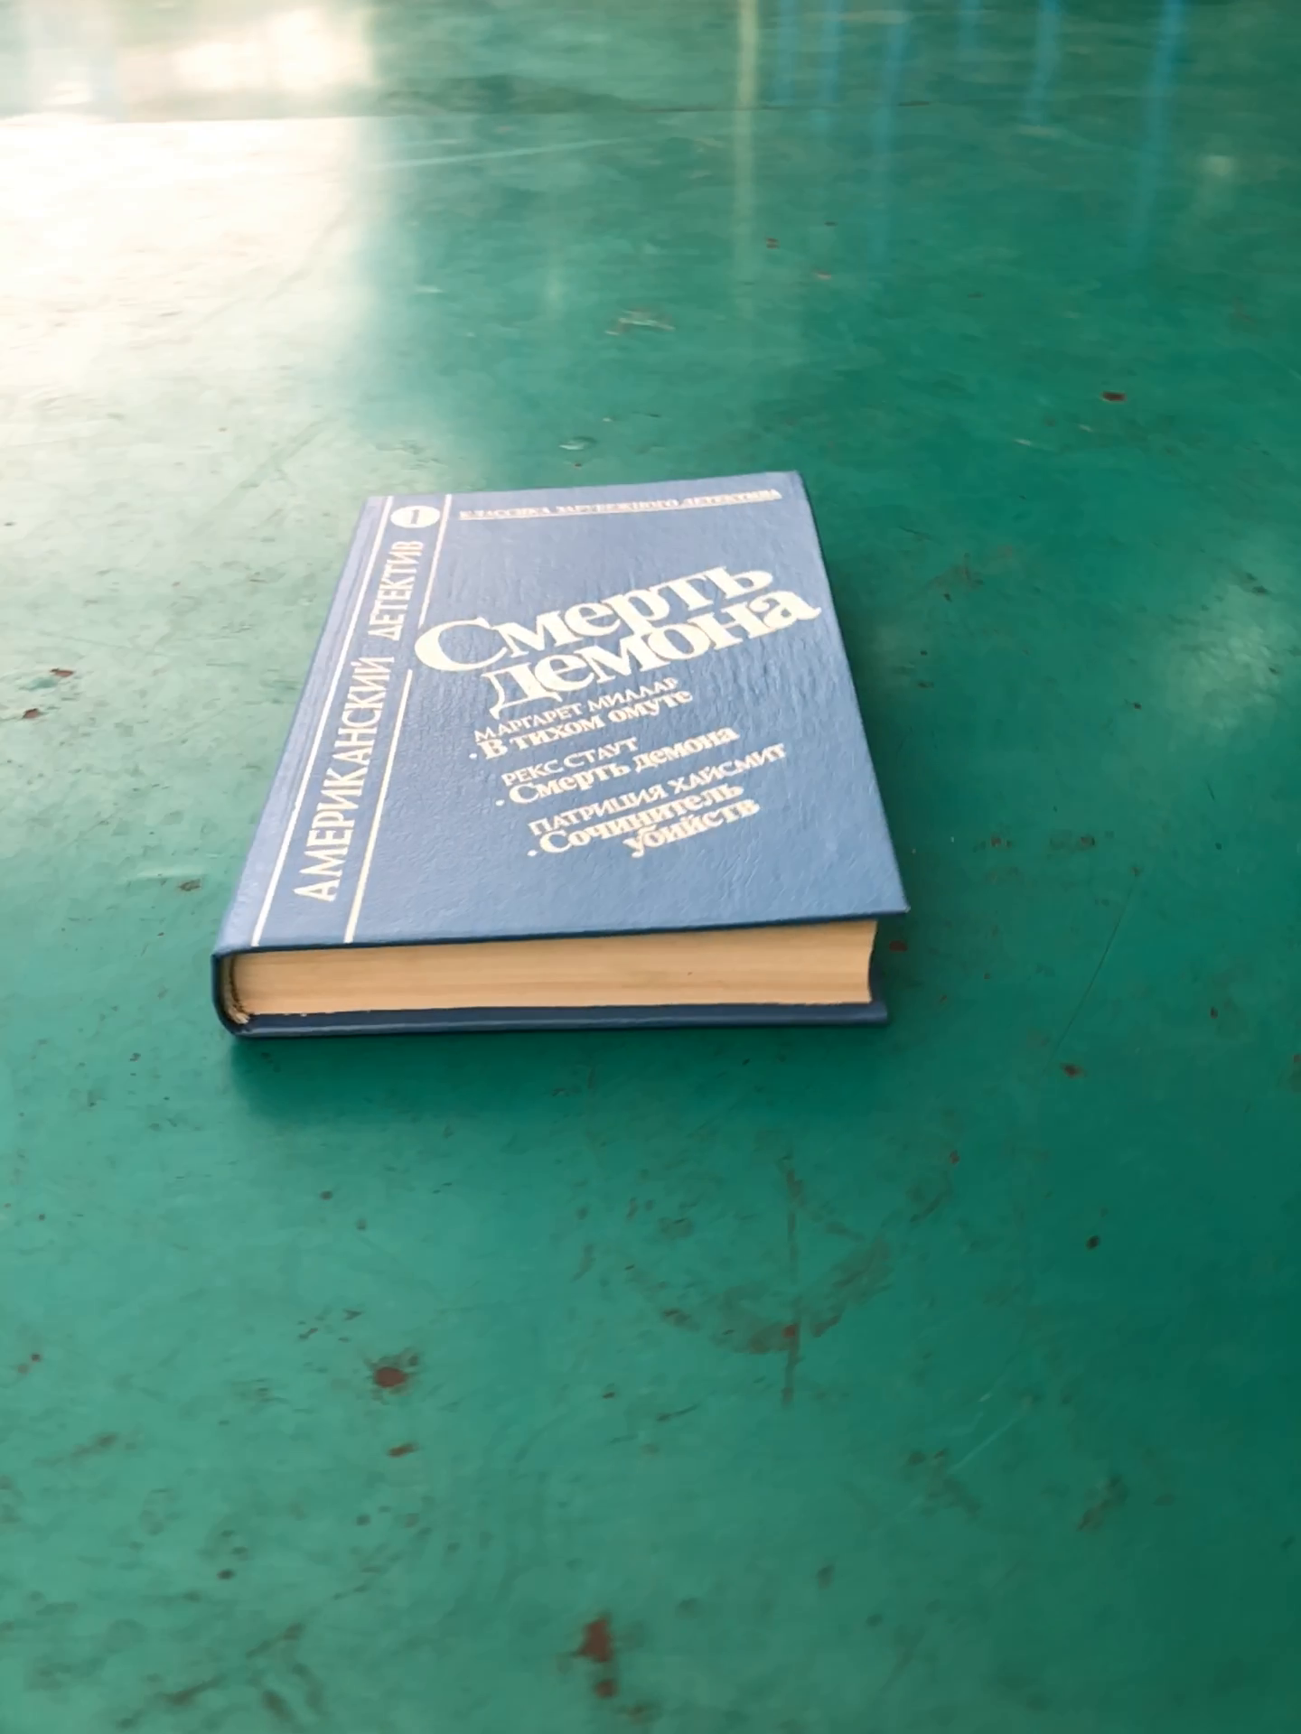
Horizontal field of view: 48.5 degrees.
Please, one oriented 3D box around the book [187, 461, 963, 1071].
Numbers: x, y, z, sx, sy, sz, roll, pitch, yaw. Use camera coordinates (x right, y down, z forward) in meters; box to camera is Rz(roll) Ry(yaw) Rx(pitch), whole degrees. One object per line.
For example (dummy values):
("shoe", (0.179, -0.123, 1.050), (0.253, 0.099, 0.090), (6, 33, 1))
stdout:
("book", (-0.014, -0.041, 0.358), (0.142, 0.034, 0.213), (-3, 37, 1))
